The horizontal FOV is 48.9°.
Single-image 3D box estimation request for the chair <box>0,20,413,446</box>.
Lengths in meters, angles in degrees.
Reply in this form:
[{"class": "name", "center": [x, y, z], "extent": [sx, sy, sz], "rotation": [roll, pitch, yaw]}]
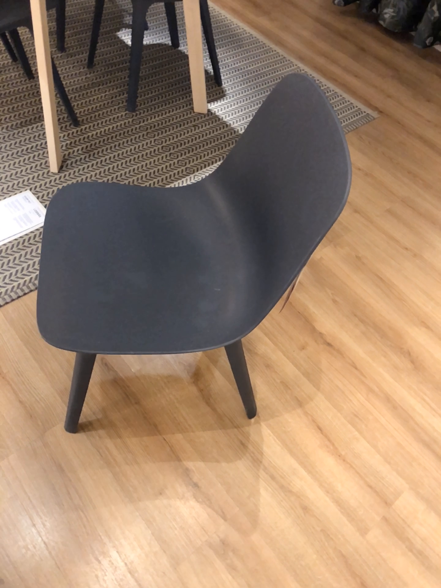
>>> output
[{"class": "chair", "center": [-0.098, -0.062, 1.019], "extent": [0.560, 0.728, 0.471], "rotation": [-2, 54, -11]}]
